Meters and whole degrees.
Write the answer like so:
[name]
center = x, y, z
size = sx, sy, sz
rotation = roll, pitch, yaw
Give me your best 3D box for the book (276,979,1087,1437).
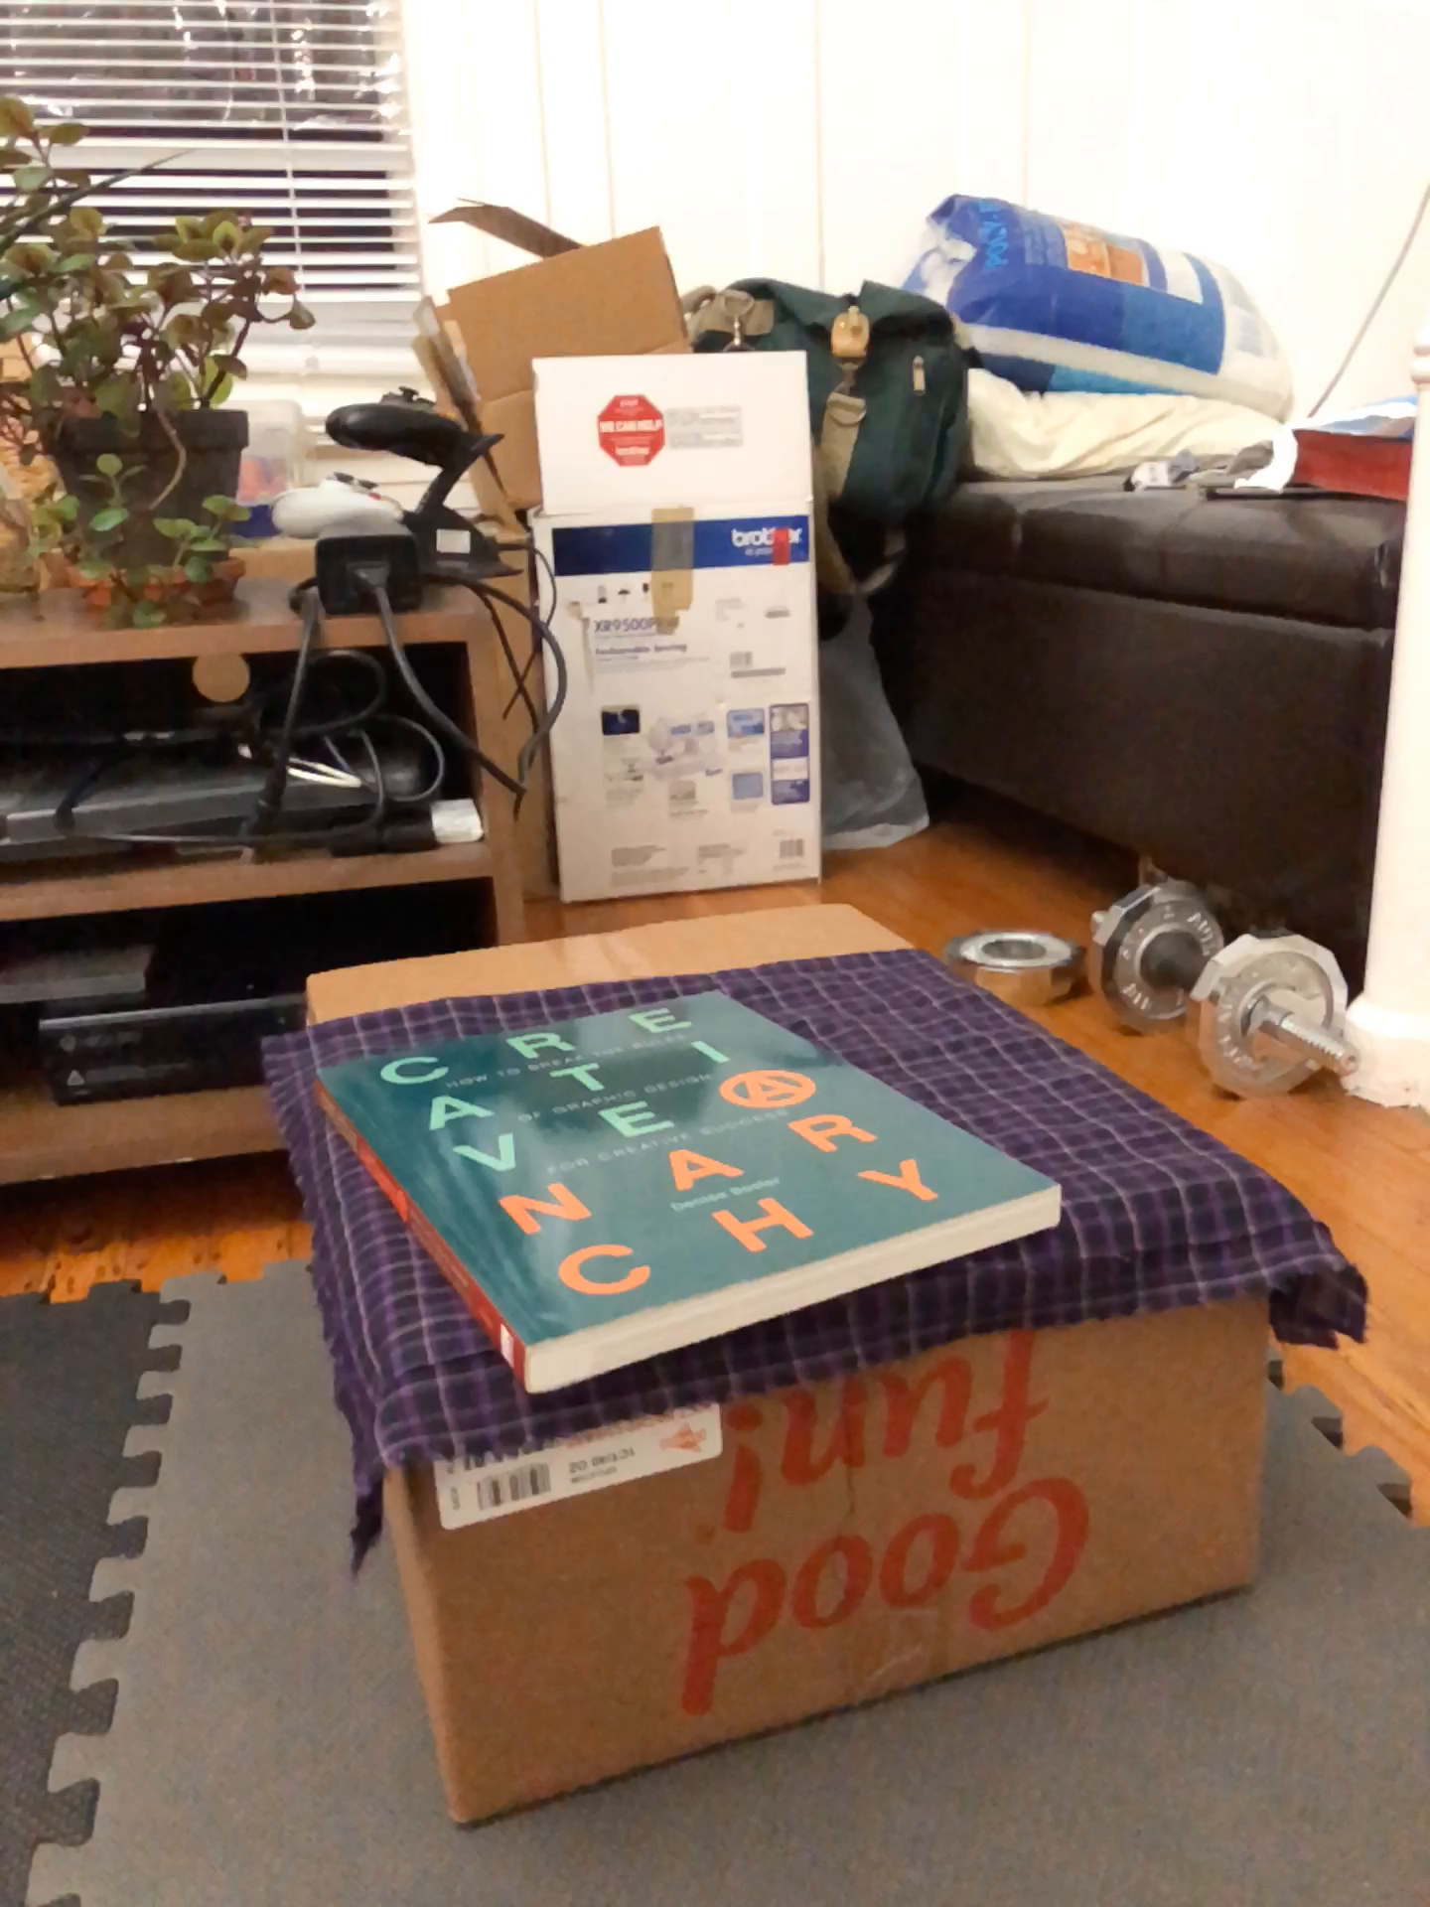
[book]
center = -0.034, 0.079, 0.644
size = 0.220, 0.020, 0.301
rotation = -11, 19, -26
